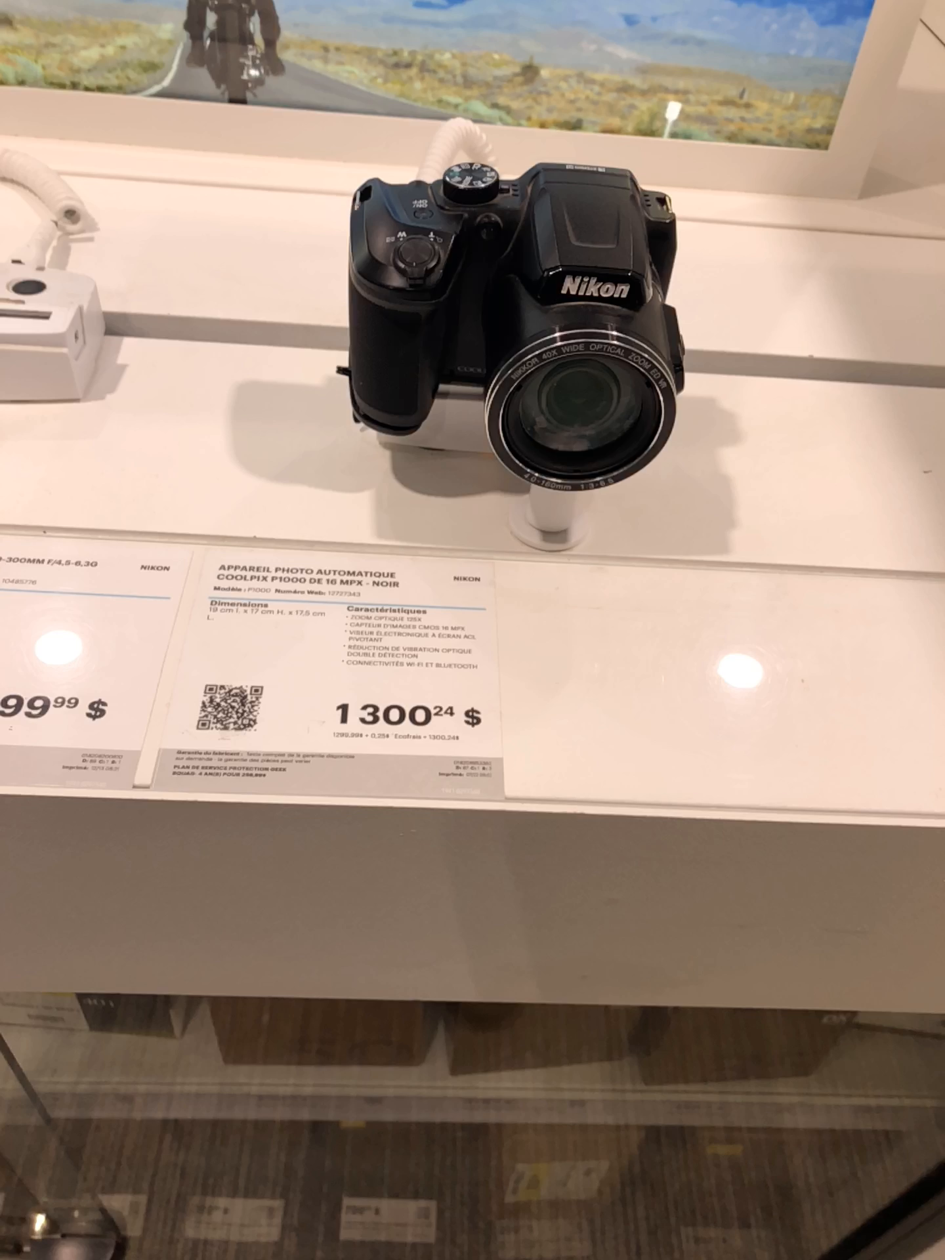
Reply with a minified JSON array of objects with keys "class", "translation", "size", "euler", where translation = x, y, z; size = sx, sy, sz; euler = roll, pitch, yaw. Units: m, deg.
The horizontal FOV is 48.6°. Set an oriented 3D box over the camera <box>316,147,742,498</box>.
[{"class":"camera","translation":[0.012,-0.101,0.342],"size":[0.117,0.067,0.092],"euler":[2,46,-5]}]
